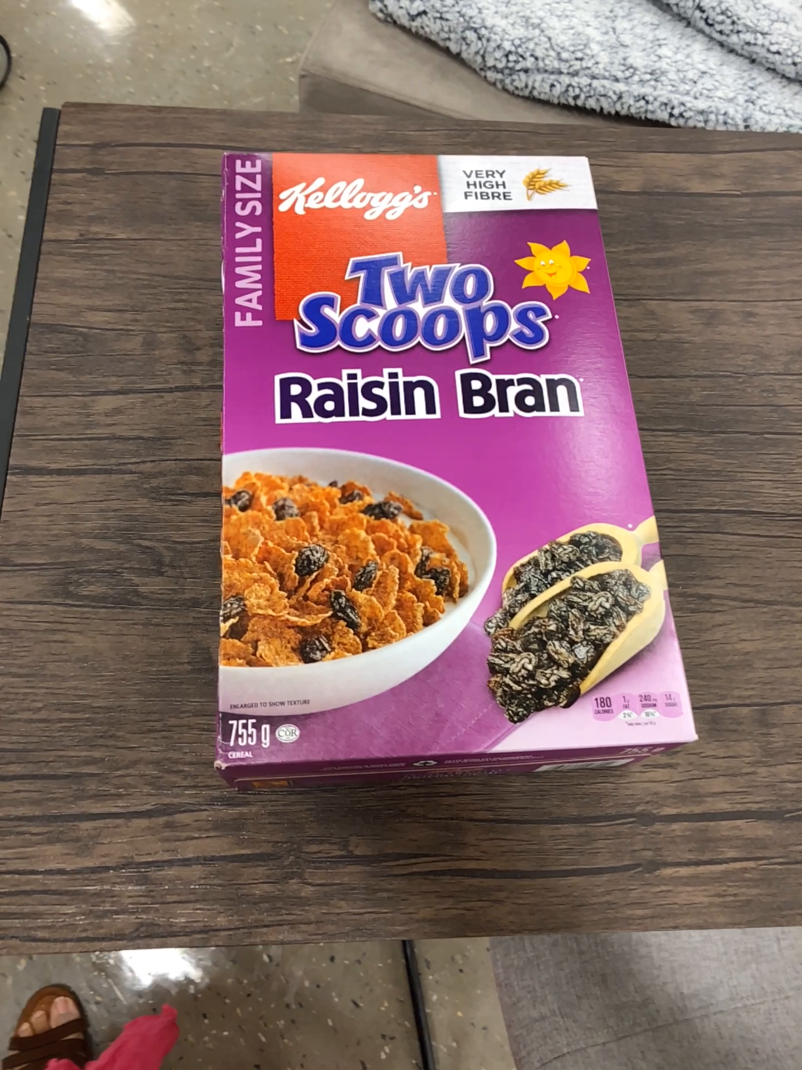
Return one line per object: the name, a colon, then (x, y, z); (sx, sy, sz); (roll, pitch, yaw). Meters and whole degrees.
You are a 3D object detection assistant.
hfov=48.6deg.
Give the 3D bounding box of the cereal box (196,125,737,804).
cereal box: (0.015, -0.044, 0.435); (0.210, 0.080, 0.320); (-2, 69, -6)
